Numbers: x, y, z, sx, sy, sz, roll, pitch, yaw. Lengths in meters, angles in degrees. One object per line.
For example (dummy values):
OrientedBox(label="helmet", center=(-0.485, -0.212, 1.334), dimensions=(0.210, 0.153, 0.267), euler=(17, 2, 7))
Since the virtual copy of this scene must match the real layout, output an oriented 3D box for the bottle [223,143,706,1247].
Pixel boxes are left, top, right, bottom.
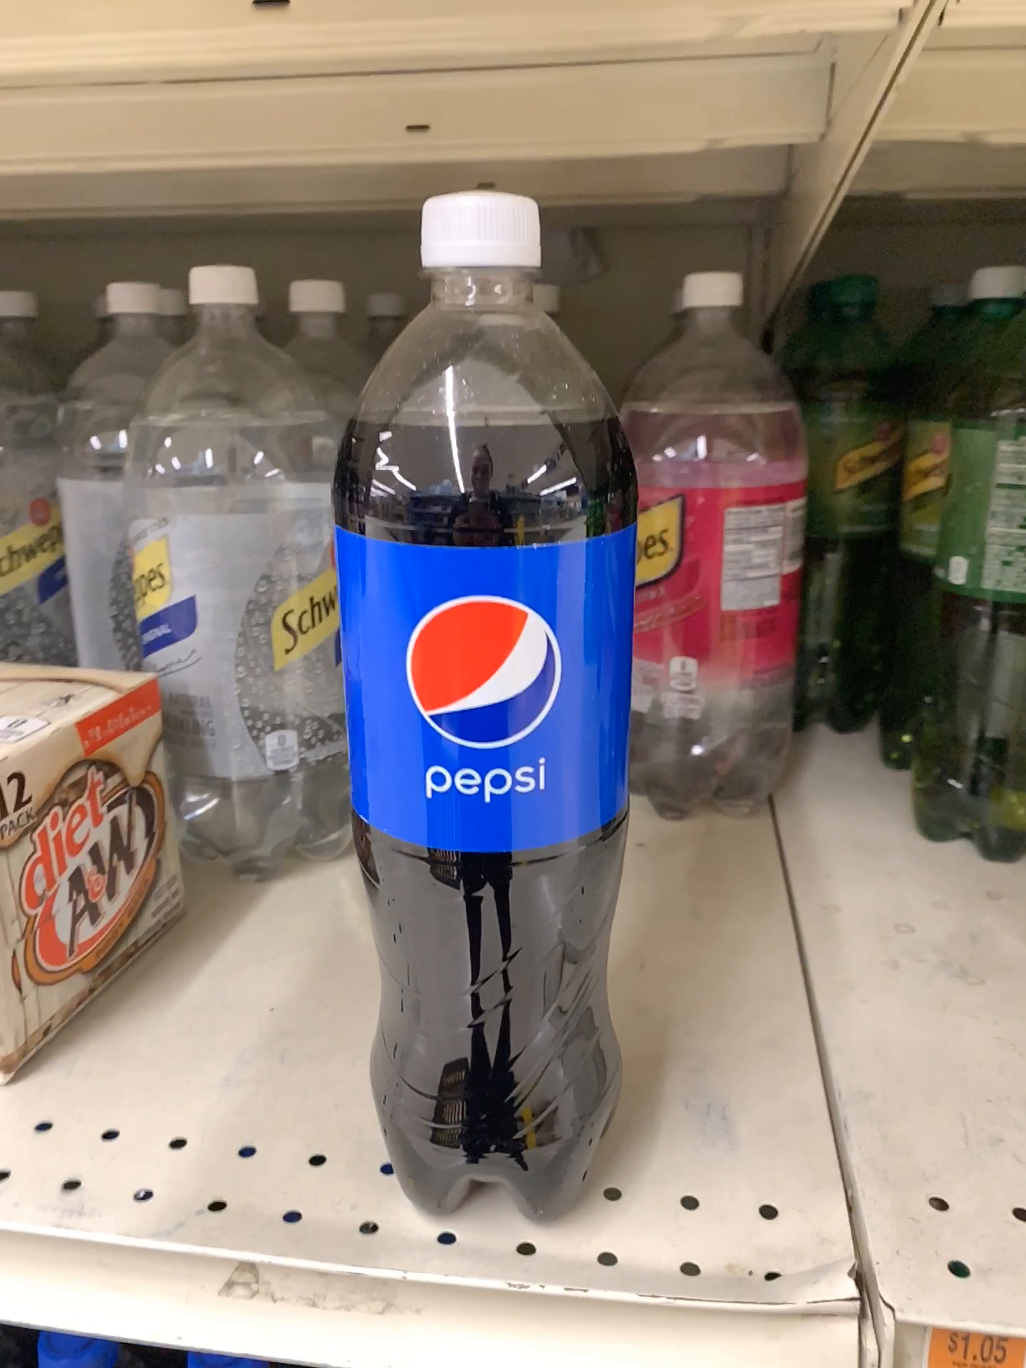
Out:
OrientedBox(label="bottle", center=(-0.006, 0.009, 0.303), dimensions=(0.101, 0.279, 0.090), euler=(2, 17, 6))
